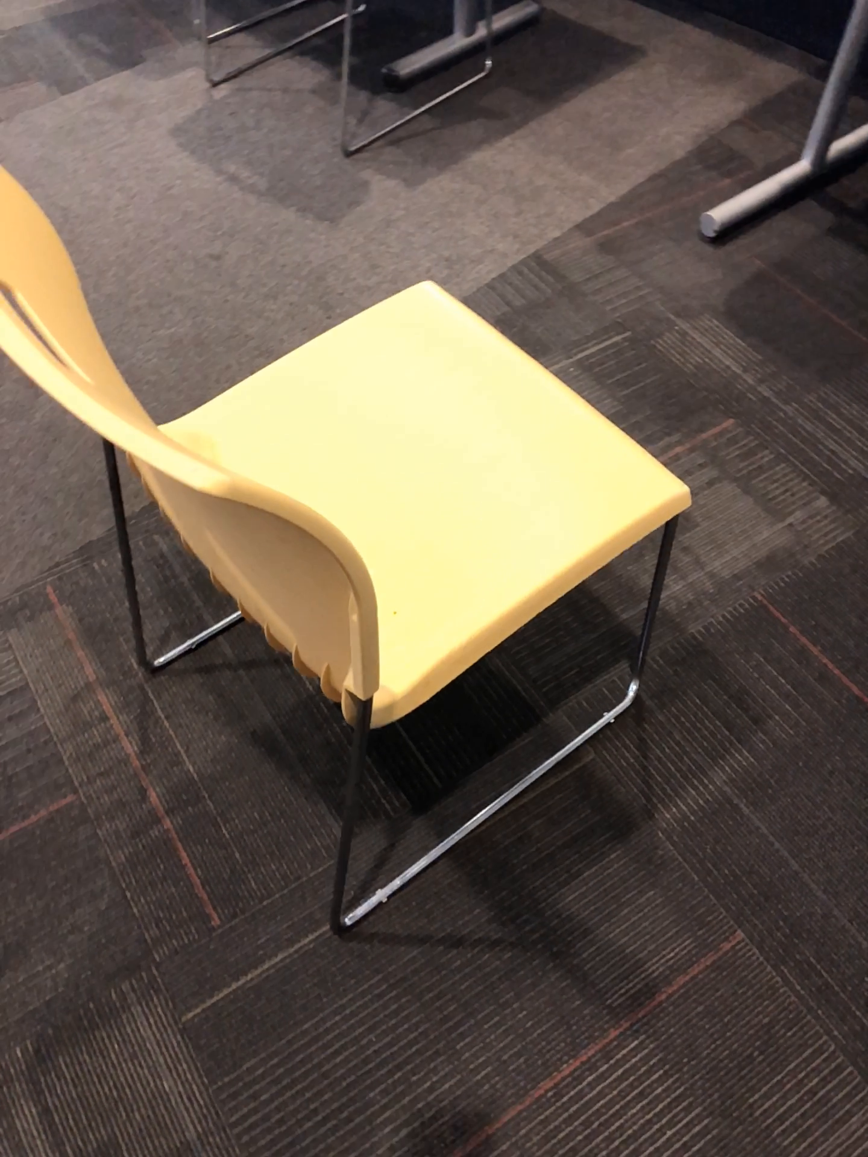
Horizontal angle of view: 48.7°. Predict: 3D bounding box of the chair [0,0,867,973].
[{"bbox_3d":[-0.072,-0.114,0.972,0.560,0.738,0.571,-31,59,-21],"label":"chair"}]
